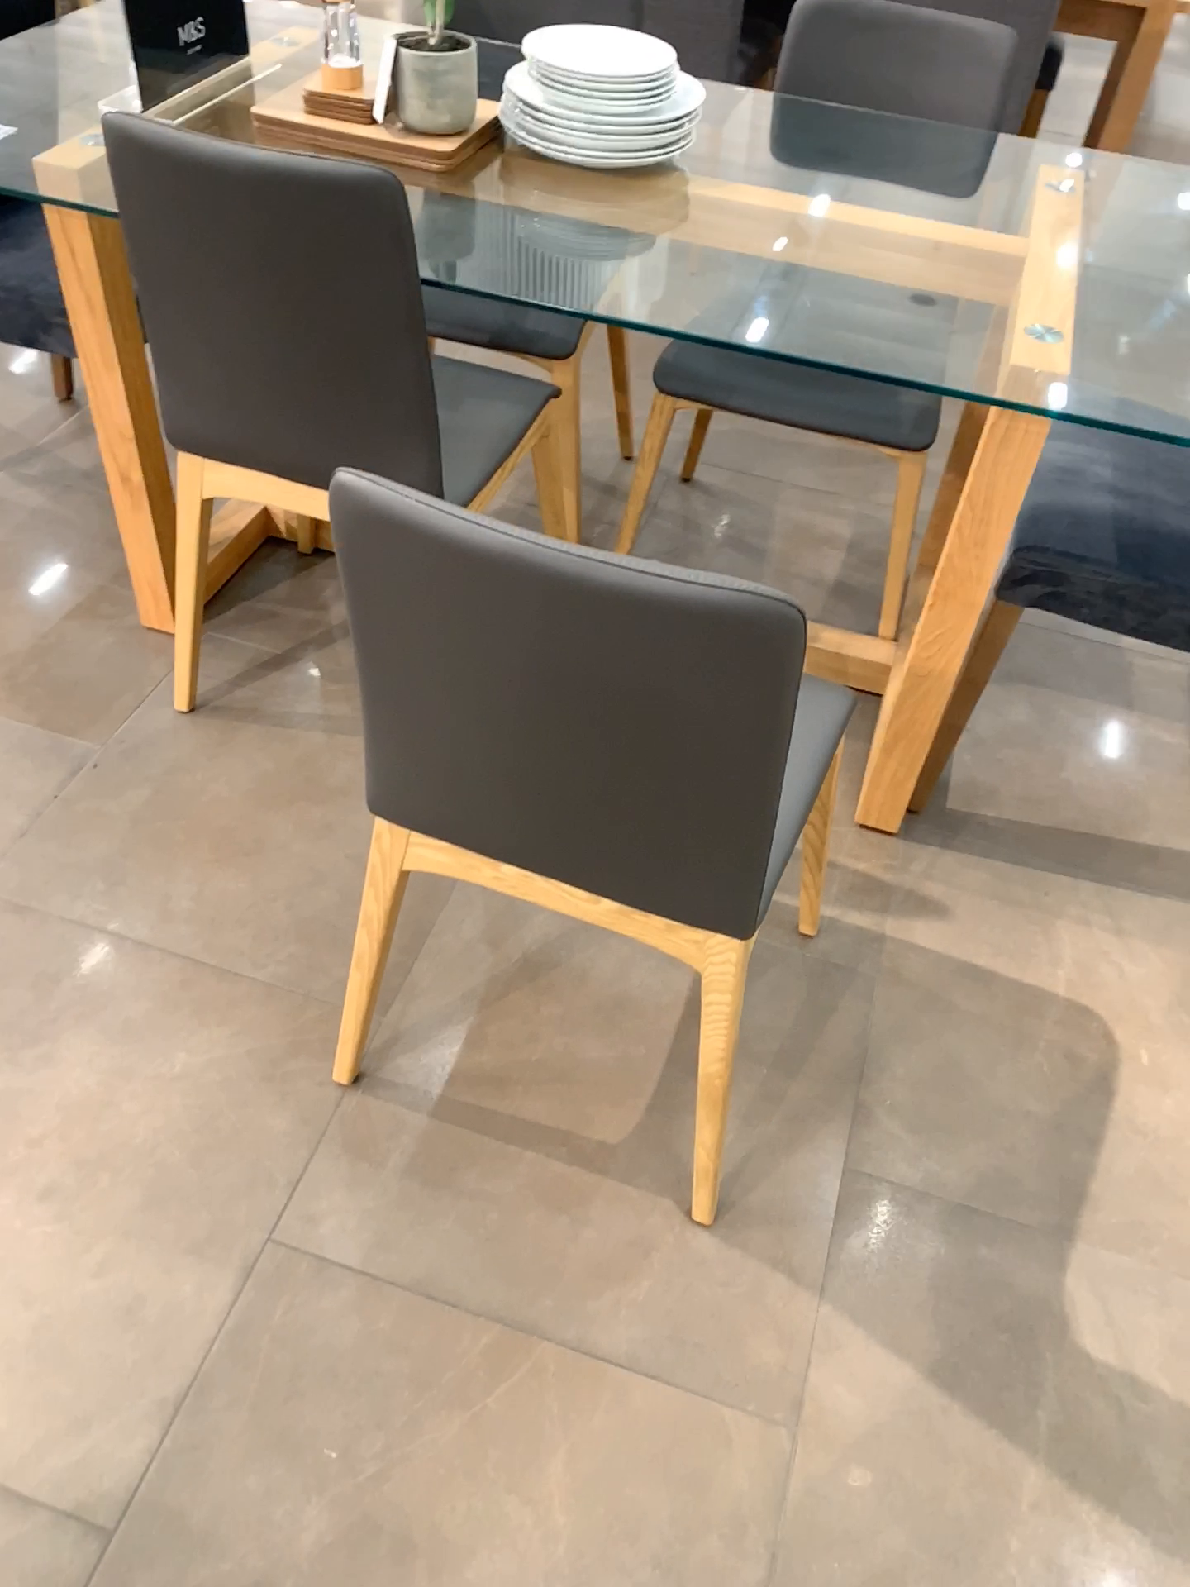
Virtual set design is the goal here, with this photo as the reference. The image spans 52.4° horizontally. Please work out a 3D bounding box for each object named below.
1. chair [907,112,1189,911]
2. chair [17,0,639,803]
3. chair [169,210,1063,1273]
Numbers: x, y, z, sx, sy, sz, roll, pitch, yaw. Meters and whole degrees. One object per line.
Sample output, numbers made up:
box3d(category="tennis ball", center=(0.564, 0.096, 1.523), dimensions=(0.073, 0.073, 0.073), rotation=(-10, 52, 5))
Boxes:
box3d(category="chair", center=(0.837, -0.366, 1.660), dimensions=(0.586, 0.813, 0.547), rotation=(12, 45, 6))
box3d(category="chair", center=(-0.299, -0.514, 1.660), dimensions=(0.523, 0.833, 0.501), rotation=(15, 46, 9))
box3d(category="chair", center=(0.034, -0.032, 1.243), dimensions=(0.563, 0.813, 0.541), rotation=(17, 46, 11))
